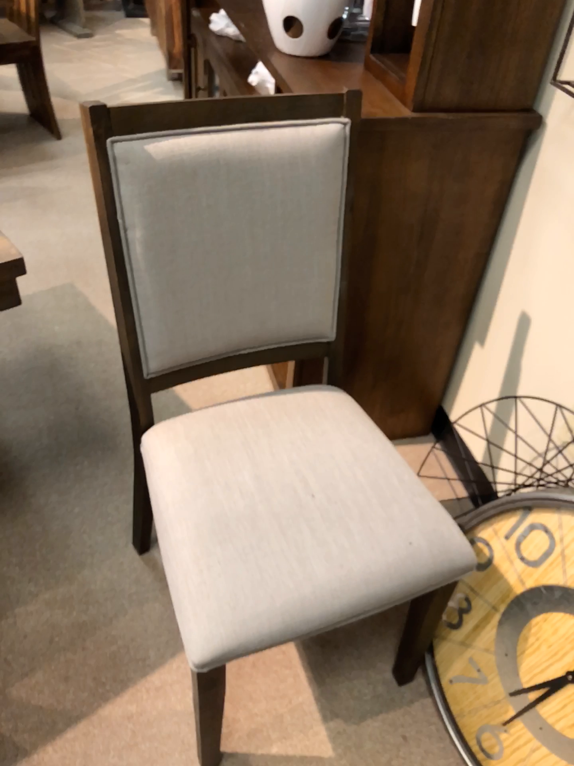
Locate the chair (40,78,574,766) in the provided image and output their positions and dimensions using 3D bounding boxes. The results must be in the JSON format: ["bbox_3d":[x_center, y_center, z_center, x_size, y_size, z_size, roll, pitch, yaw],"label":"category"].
[{"bbox_3d":[-0.024,0.108,0.974,0.460,0.924,0.493,-13,44,-20],"label":"chair"}]
